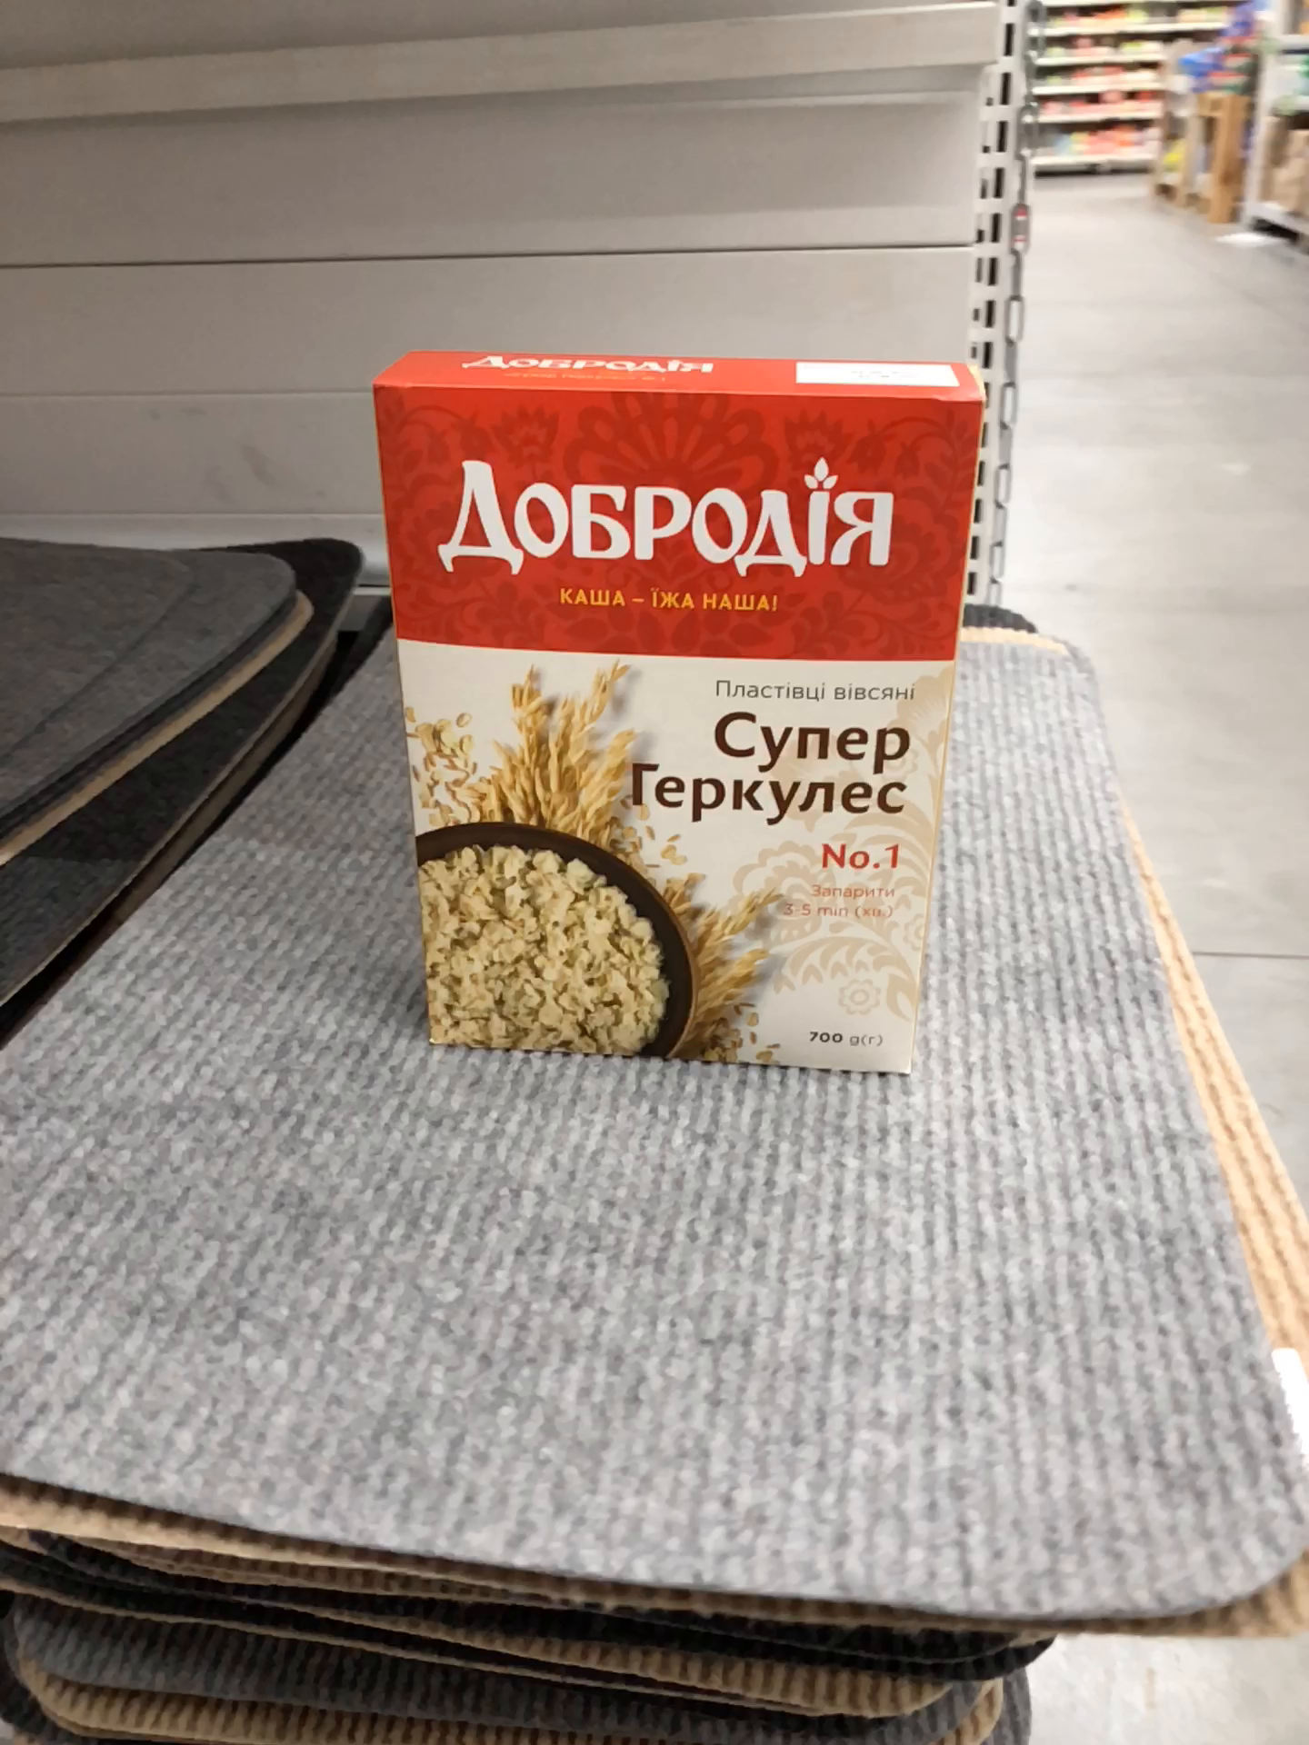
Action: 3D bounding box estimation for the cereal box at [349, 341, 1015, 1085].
[{"bbox_3d":[0.009,-0.047,0.469,0.180,0.228,0.060,3,29,5],"label":"cereal box"}]
